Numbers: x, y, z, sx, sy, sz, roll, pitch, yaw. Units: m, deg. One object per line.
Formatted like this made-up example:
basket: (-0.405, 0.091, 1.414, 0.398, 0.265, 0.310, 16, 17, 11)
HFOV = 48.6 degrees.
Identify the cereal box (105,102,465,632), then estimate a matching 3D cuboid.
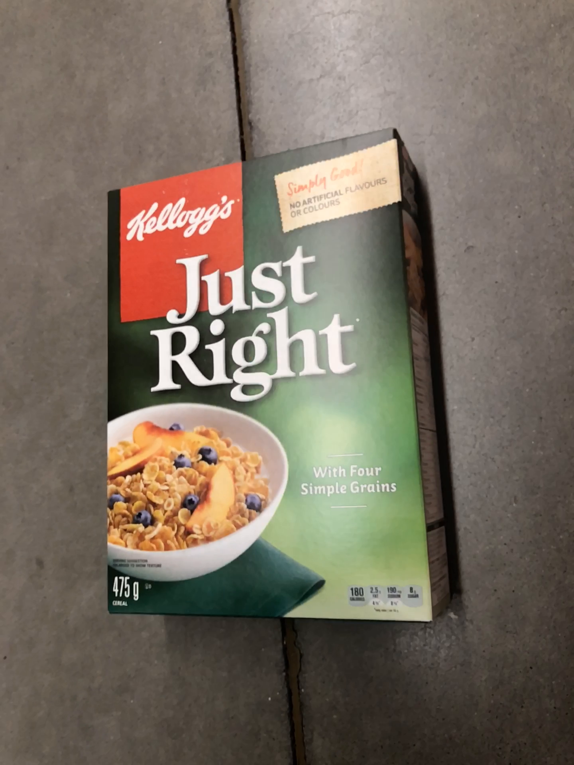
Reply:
cereal box: (-0.011, -0.004, 0.407, 0.210, 0.060, 0.290, -6, 80, 21)
